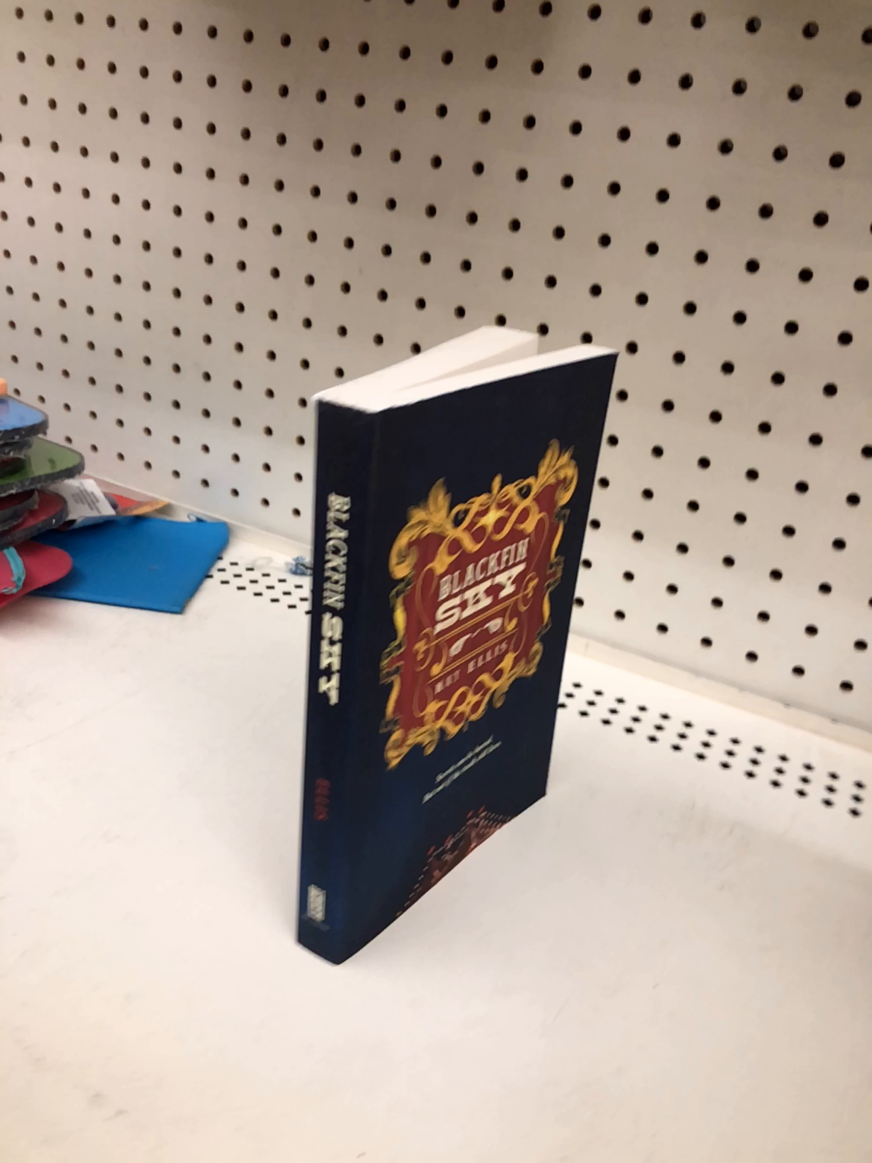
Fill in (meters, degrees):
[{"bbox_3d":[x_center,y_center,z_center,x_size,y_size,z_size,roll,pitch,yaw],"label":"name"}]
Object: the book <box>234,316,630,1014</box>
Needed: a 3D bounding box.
[{"bbox_3d":[0.001,0.020,0.355,0.059,0.205,0.151,18,28,27],"label":"book"}]
